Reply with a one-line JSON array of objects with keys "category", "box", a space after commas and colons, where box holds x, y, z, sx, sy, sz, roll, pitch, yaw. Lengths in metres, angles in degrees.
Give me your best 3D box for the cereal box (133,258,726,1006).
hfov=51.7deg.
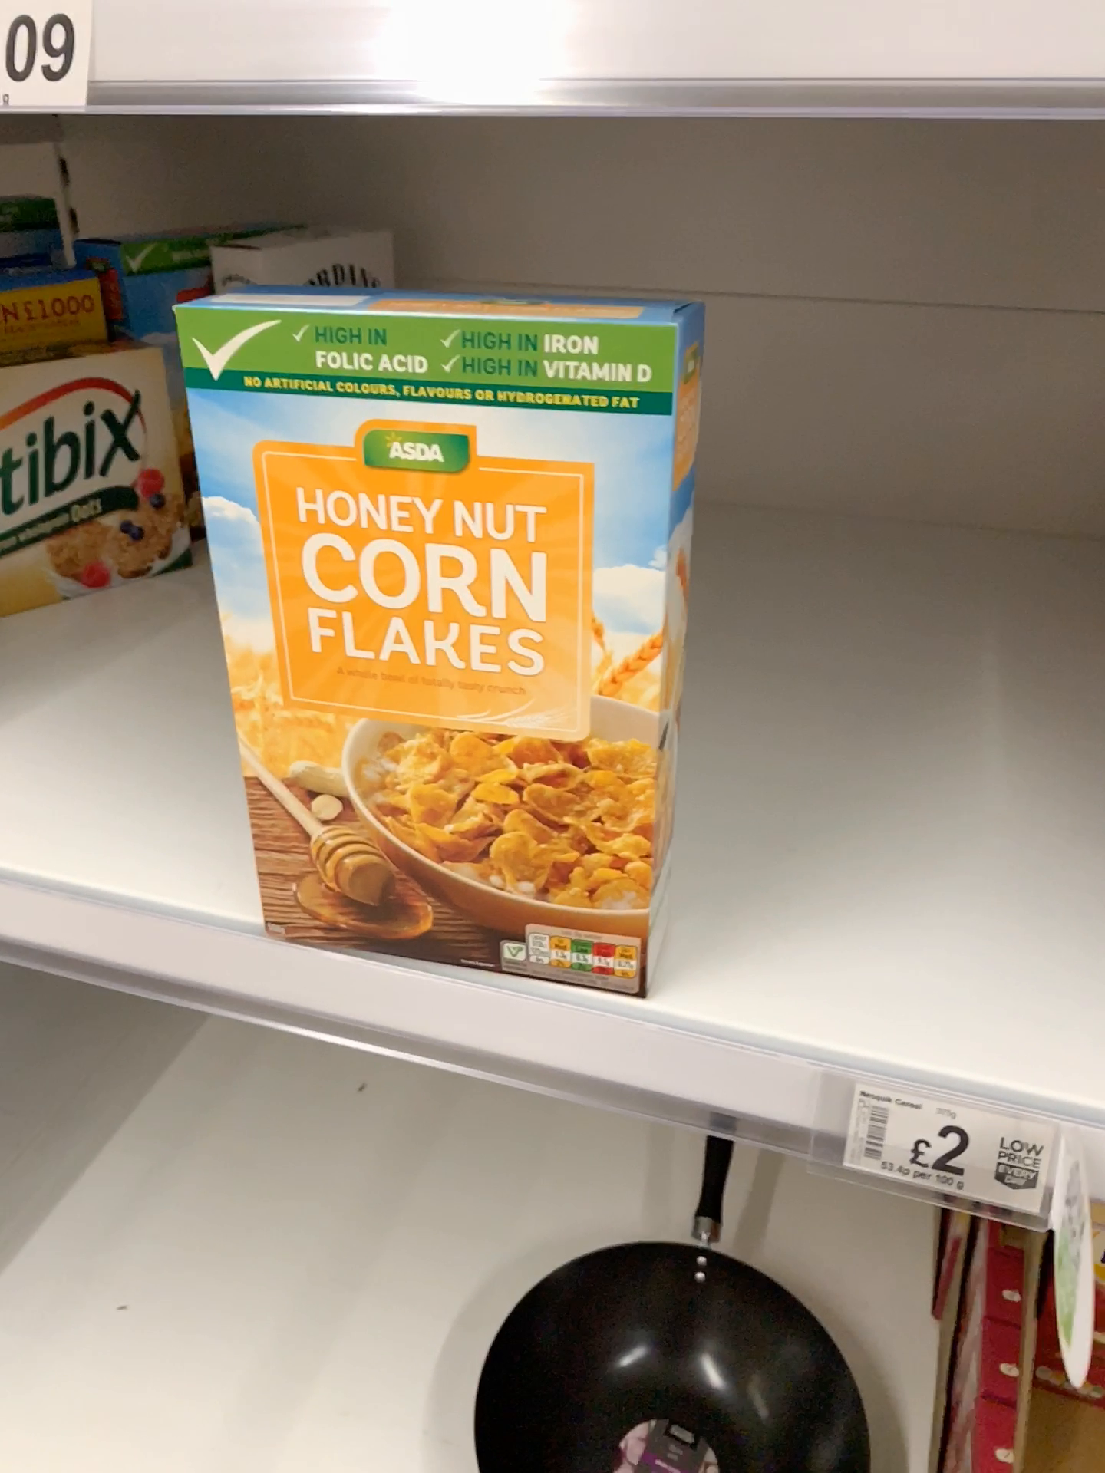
[{"category": "cereal box", "box": [-0.042, -0.038, 0.478, 0.200, 0.287, 0.071, 7, 29, 13]}]
